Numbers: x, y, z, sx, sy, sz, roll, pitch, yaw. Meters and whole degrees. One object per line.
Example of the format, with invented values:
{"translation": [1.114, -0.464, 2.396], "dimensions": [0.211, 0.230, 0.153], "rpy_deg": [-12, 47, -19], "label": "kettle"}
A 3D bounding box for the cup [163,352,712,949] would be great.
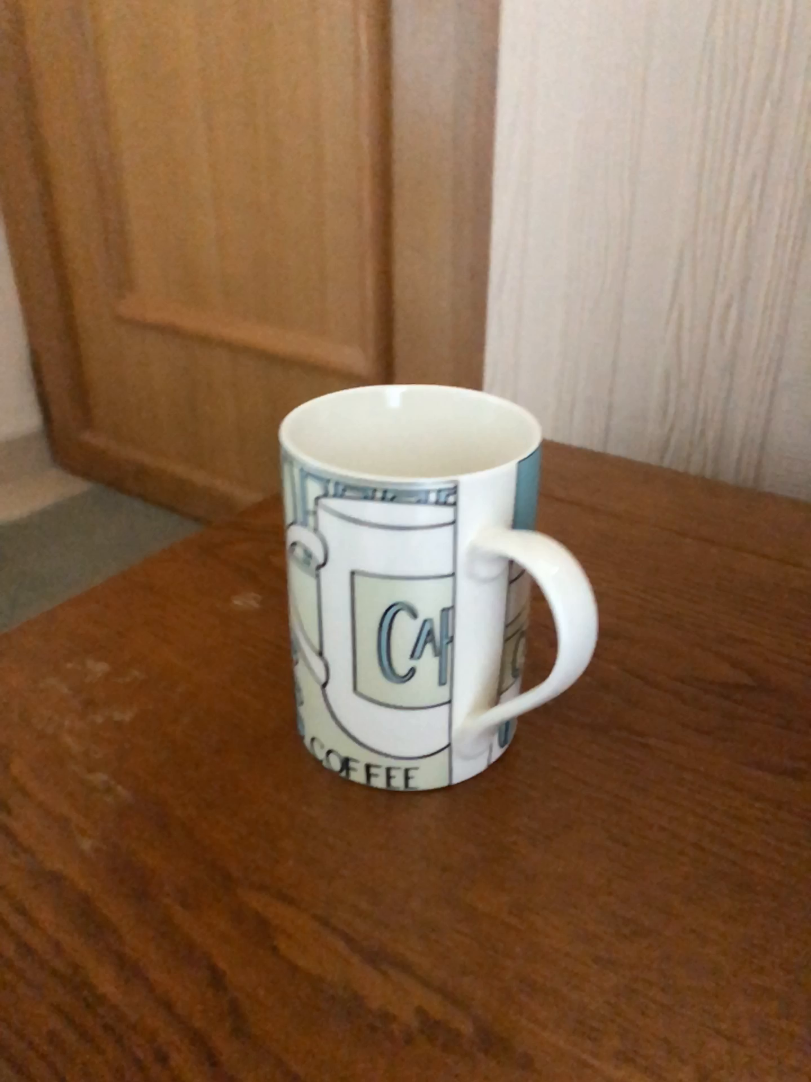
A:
{"translation": [0.002, 0.017, 0.251], "dimensions": [0.080, 0.099, 0.120], "rpy_deg": [-20, 34, -34], "label": "cup"}
